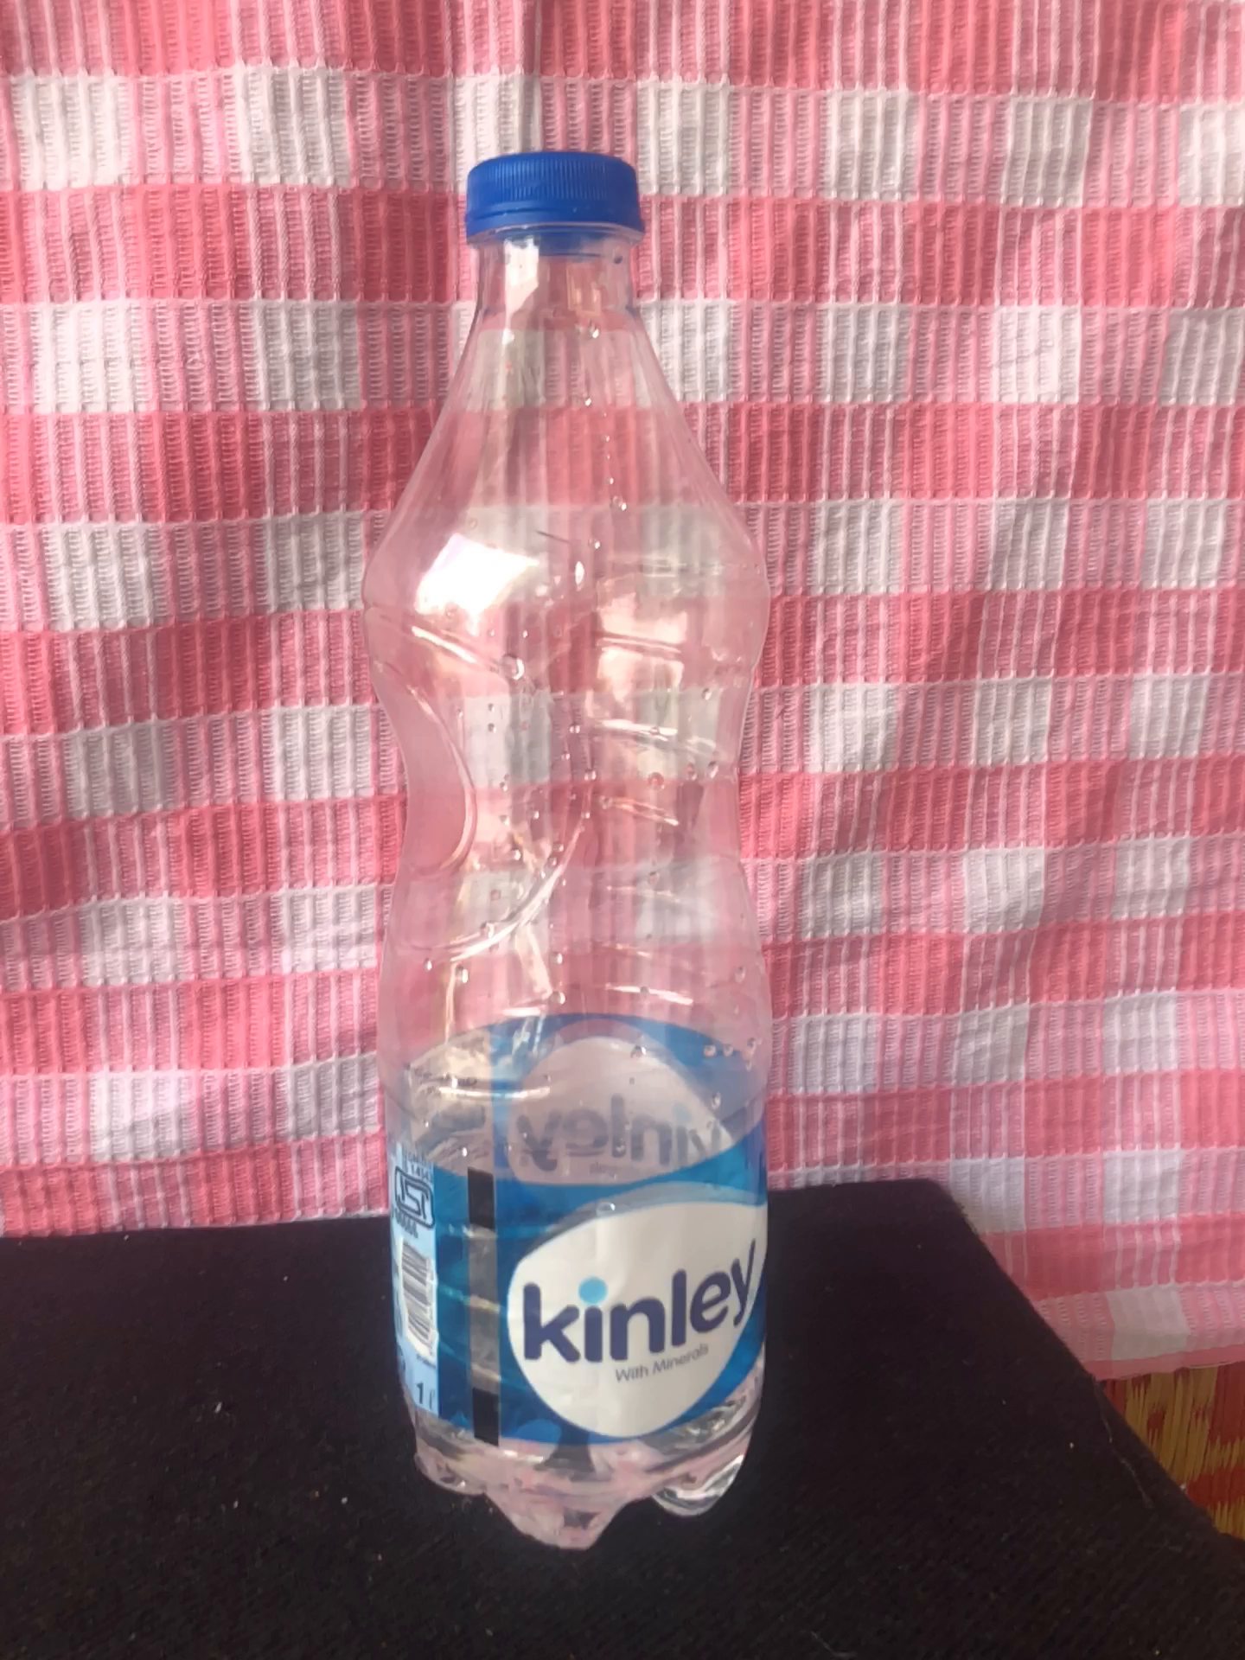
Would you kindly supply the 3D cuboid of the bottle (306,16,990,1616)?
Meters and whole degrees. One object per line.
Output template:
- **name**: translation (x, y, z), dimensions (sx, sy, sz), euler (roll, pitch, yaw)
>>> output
- **bottle**: translation (-0.005, 0.003, 0.271), dimensions (0.090, 0.259, 0.080), euler (-5, 17, -28)
